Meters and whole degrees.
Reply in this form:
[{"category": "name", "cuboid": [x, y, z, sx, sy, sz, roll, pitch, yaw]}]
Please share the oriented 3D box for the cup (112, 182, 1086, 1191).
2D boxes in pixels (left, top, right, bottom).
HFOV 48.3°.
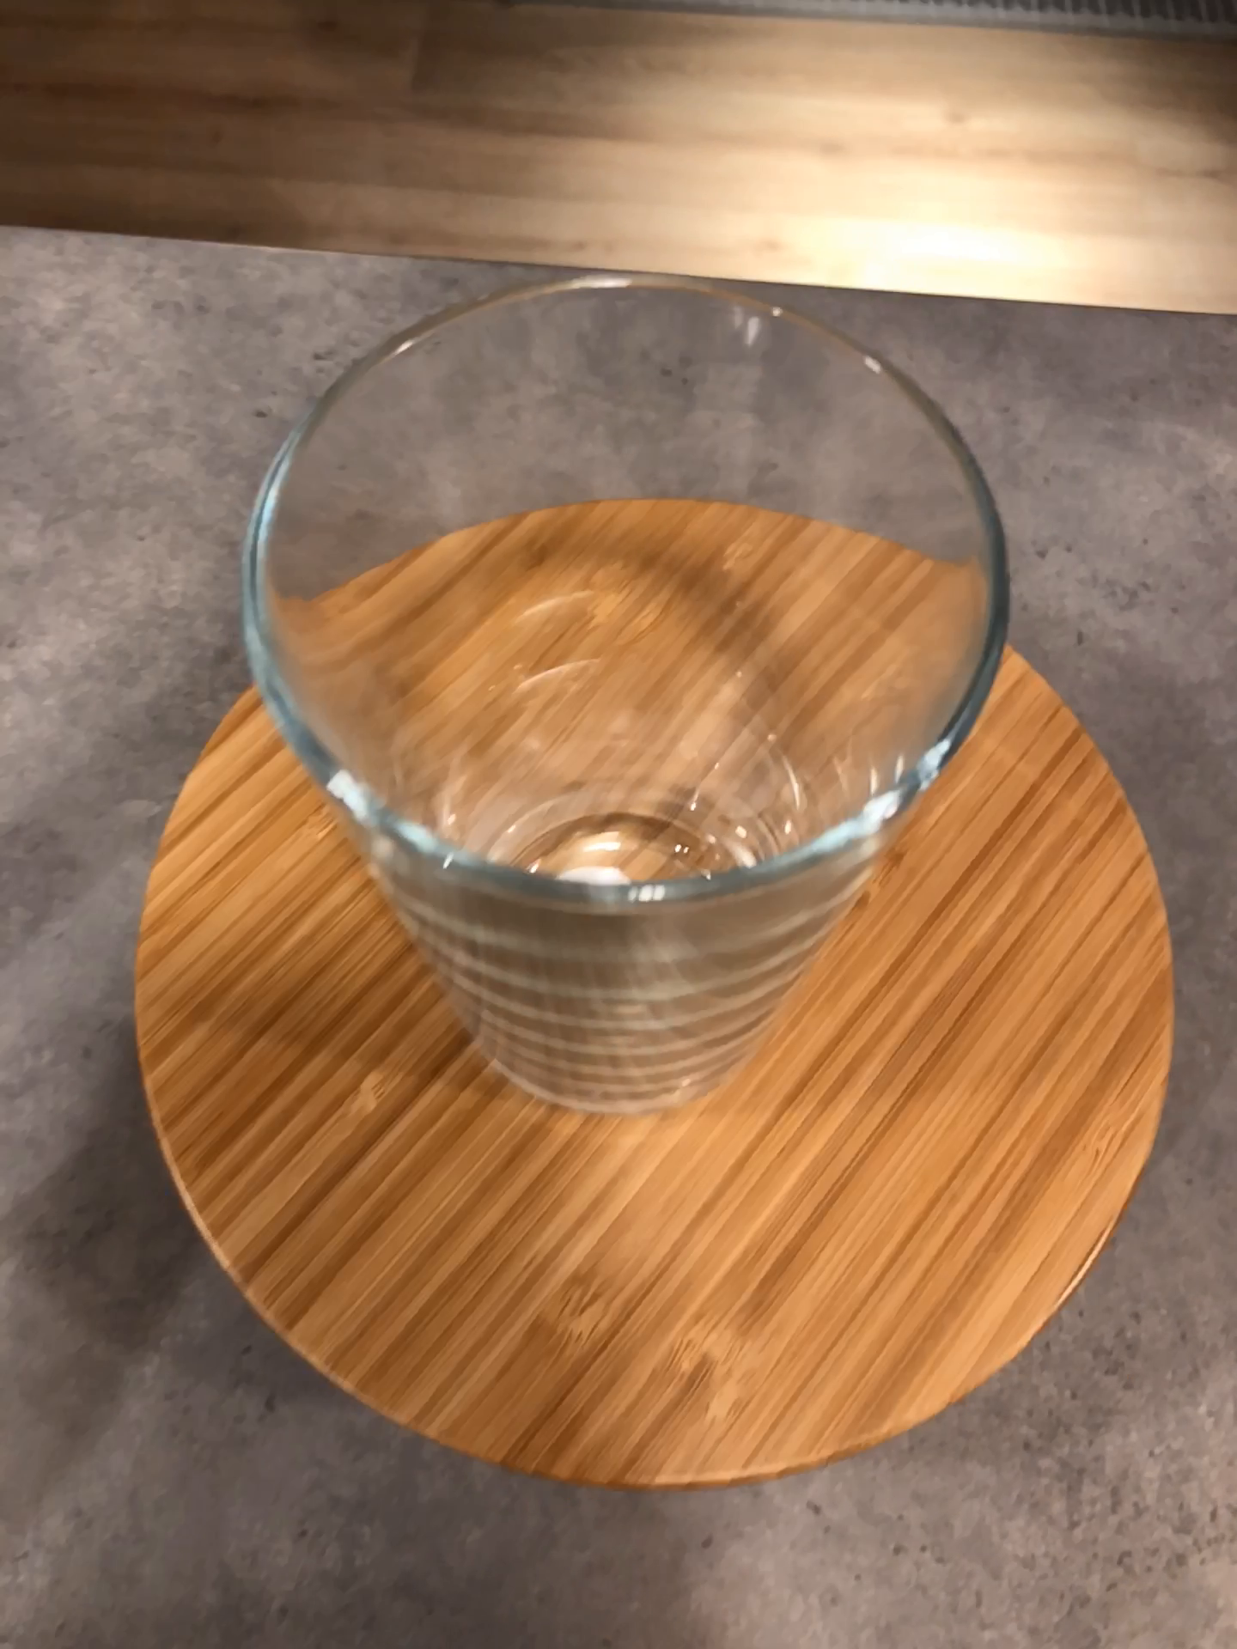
[{"category": "cup", "cuboid": [-0.006, -0.009, 0.226, 0.100, 0.140, 0.100, 0, 63, -1]}]
